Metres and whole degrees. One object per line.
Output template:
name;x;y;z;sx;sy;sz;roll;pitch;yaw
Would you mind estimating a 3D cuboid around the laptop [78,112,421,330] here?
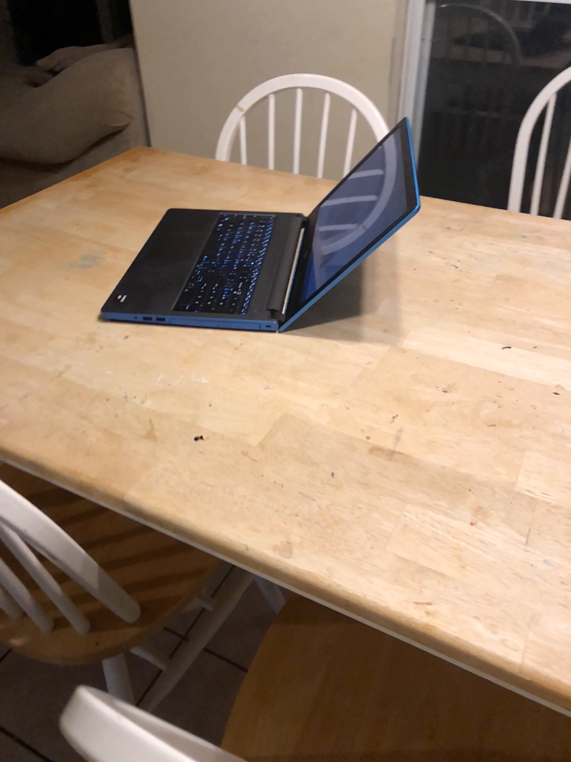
laptop;-0.025;-0.262;0.950;0.418;0.174;0.369;4;37;6
